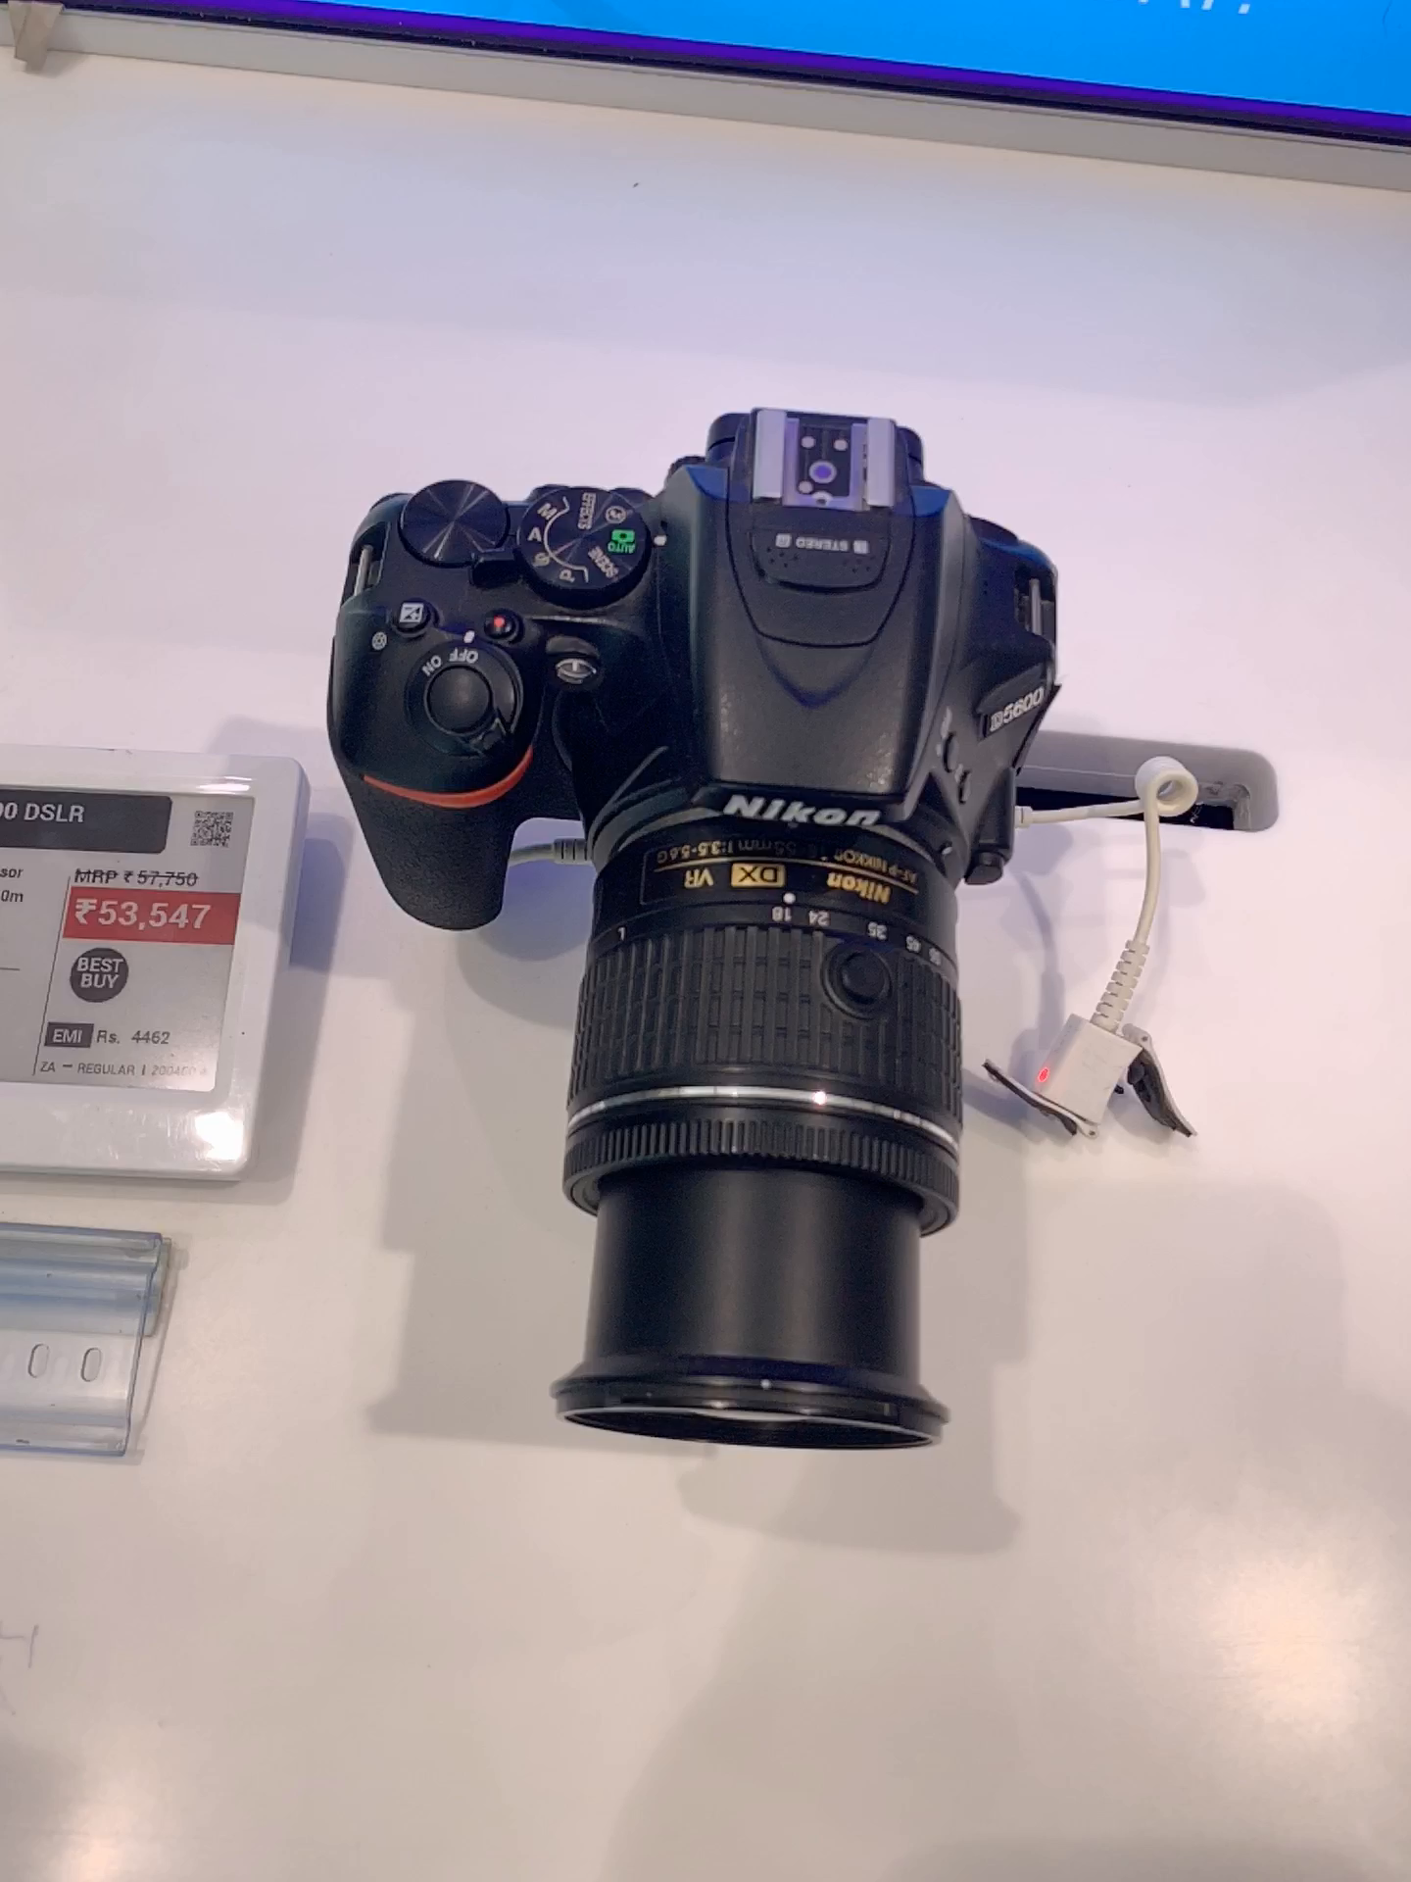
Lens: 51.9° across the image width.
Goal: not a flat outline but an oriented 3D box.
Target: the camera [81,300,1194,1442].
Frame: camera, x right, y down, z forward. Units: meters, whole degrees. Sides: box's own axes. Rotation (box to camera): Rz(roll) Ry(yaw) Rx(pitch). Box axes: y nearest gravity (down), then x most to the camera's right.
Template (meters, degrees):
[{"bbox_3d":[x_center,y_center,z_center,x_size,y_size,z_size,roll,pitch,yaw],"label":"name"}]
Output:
[{"bbox_3d":[-0.005,-0.004,0.226,0.116,0.100,0.141,3,66,-1],"label":"camera"}]
